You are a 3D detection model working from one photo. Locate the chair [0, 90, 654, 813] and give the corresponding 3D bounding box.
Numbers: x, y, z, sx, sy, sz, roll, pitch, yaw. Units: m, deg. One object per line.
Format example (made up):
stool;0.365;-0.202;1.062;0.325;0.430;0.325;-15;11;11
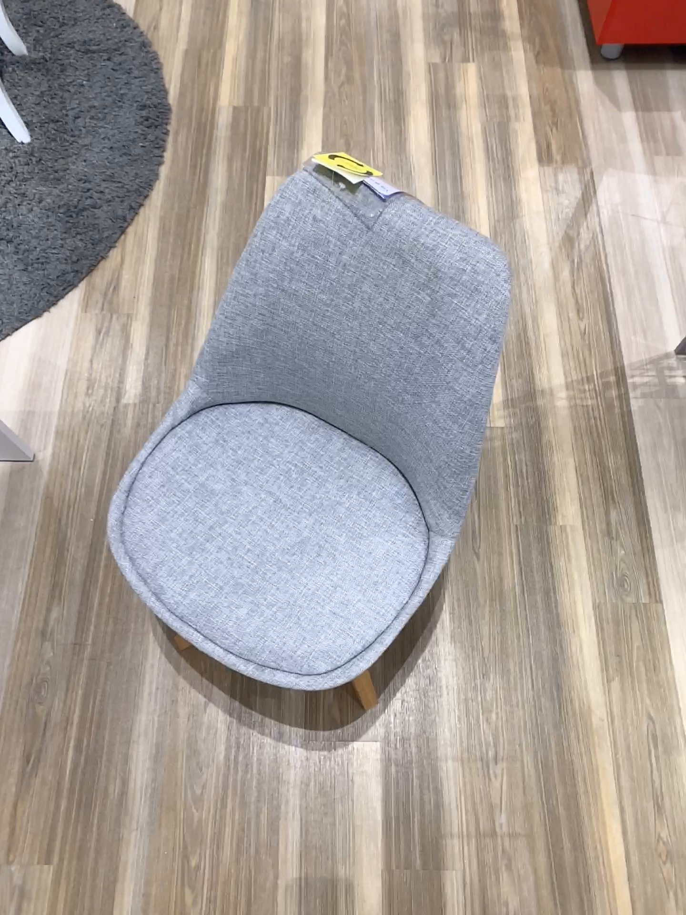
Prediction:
chair;-0.060;0.090;1.026;0.513;0.858;0.516;30;70;12
